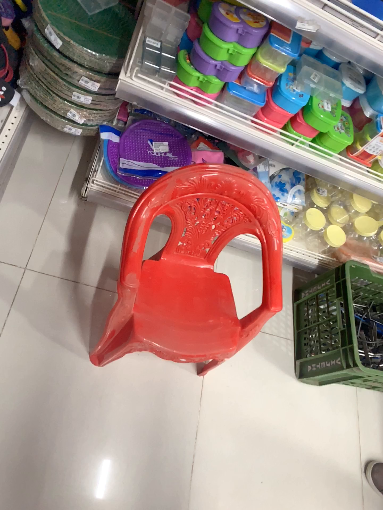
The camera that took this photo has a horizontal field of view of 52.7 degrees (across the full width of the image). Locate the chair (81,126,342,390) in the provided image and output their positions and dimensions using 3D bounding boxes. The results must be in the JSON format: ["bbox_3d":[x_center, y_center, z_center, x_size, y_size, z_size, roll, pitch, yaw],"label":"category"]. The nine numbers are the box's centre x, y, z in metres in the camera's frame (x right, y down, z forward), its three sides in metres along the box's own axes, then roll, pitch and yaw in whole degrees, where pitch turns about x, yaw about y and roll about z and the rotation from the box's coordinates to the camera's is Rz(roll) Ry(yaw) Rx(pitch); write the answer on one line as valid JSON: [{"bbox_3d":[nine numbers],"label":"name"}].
[{"bbox_3d":[0.006,0.070,0.947,0.411,0.499,0.410,13,62,-18],"label":"chair"}]
